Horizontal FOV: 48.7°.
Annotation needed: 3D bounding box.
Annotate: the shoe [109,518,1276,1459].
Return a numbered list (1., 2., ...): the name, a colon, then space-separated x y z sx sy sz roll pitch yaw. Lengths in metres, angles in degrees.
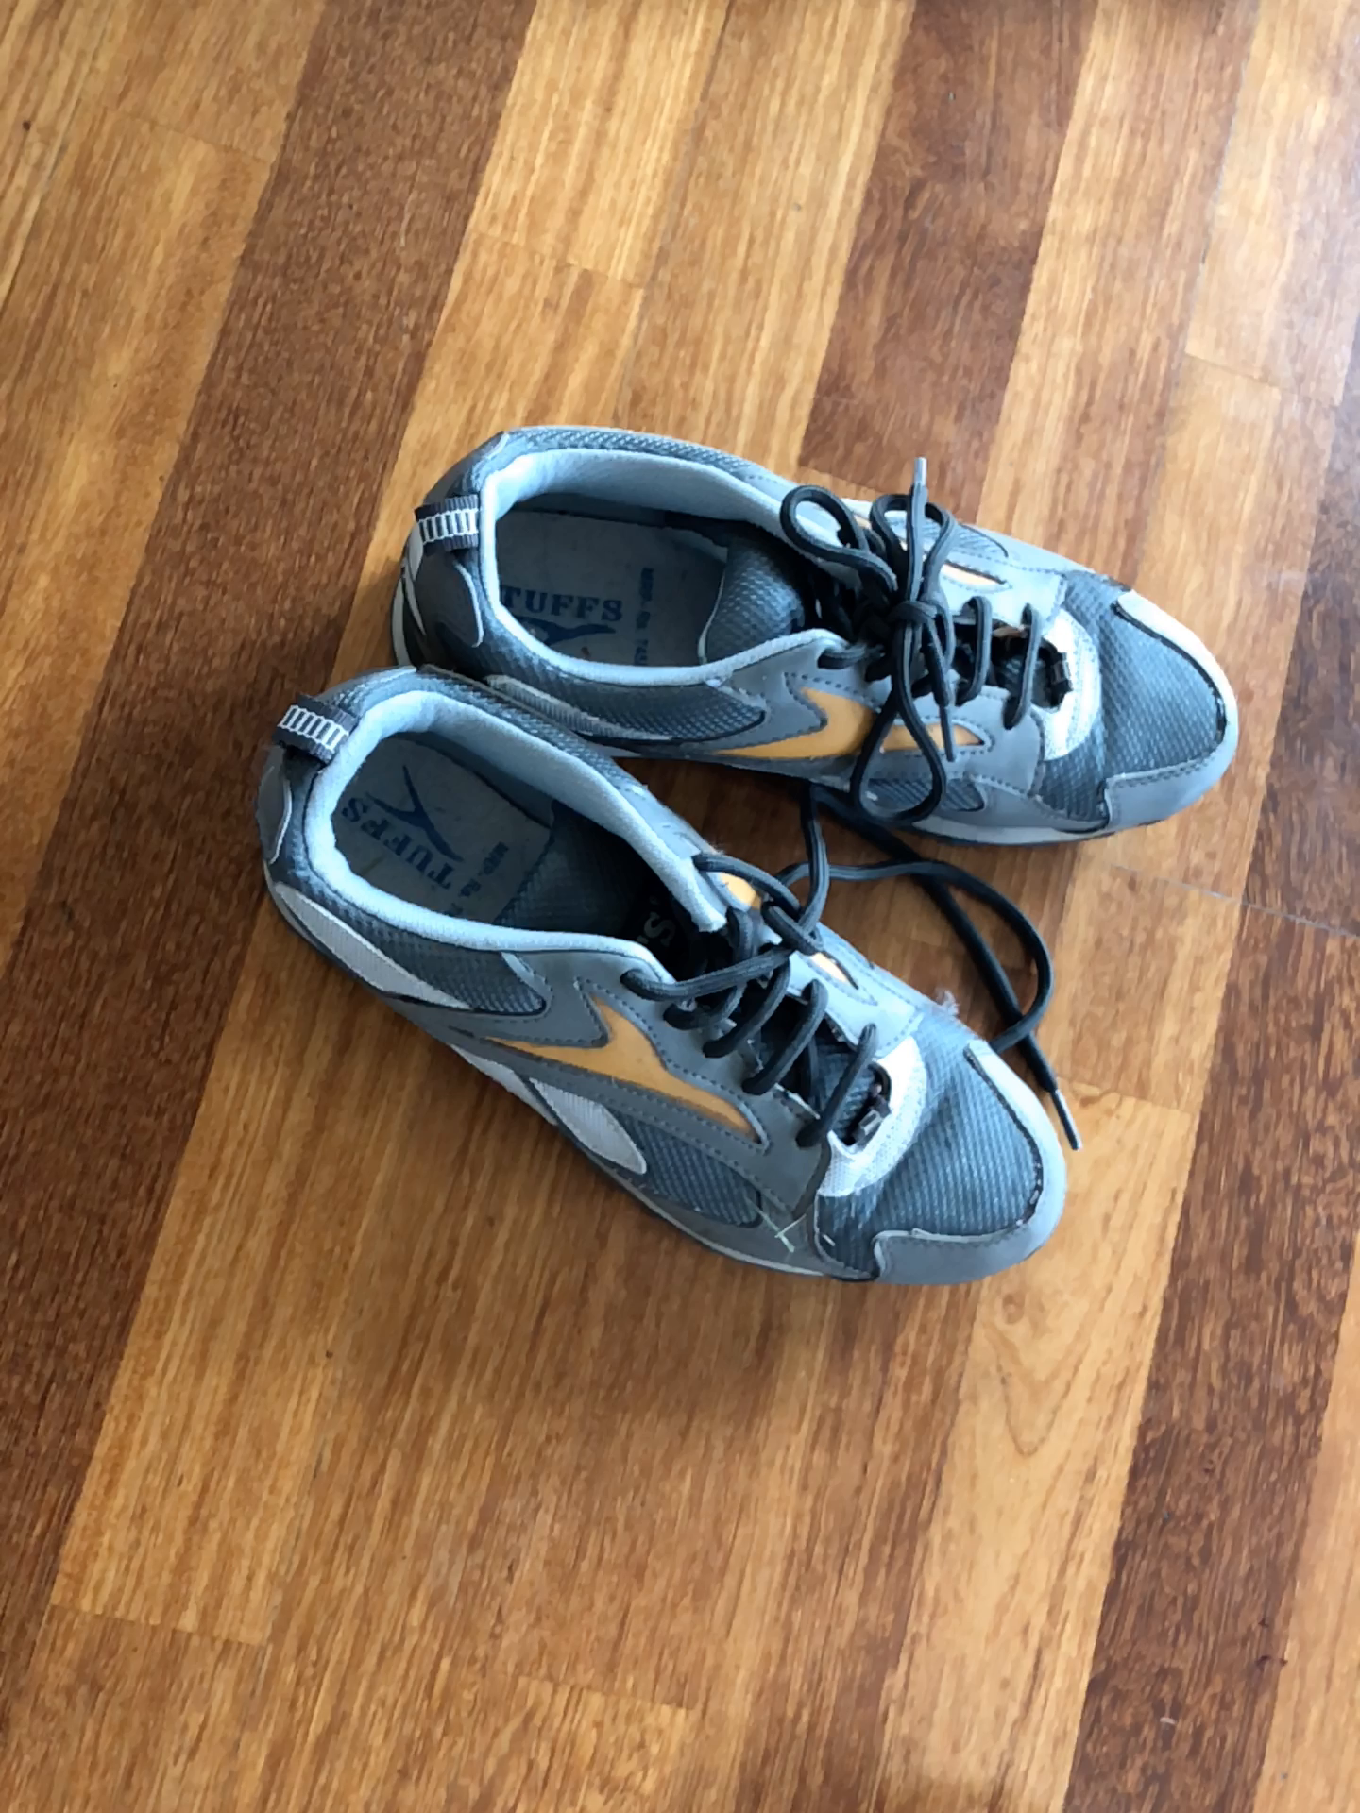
1. shoe: 0.005 0.028 0.421 0.283 0.088 0.110 31 76 -5

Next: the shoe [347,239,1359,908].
1. shoe: 0.054 -0.088 0.454 0.283 0.099 0.112 11 78 -9
